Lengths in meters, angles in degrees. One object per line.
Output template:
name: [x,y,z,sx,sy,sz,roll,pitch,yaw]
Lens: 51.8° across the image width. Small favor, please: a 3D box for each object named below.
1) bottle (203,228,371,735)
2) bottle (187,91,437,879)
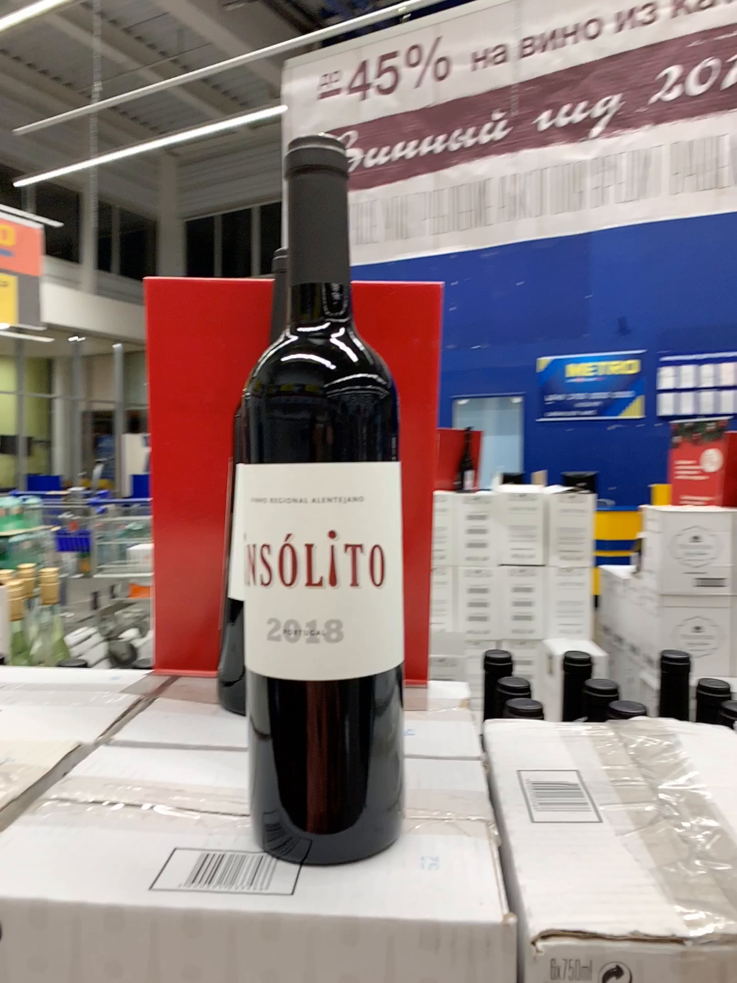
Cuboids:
bottle: [-0.062,-0.005,0.529,0.090,0.320,0.090,3,5,0]
bottle: [-0.021,-0.003,0.351,0.090,0.310,0.090,1,1,0]
